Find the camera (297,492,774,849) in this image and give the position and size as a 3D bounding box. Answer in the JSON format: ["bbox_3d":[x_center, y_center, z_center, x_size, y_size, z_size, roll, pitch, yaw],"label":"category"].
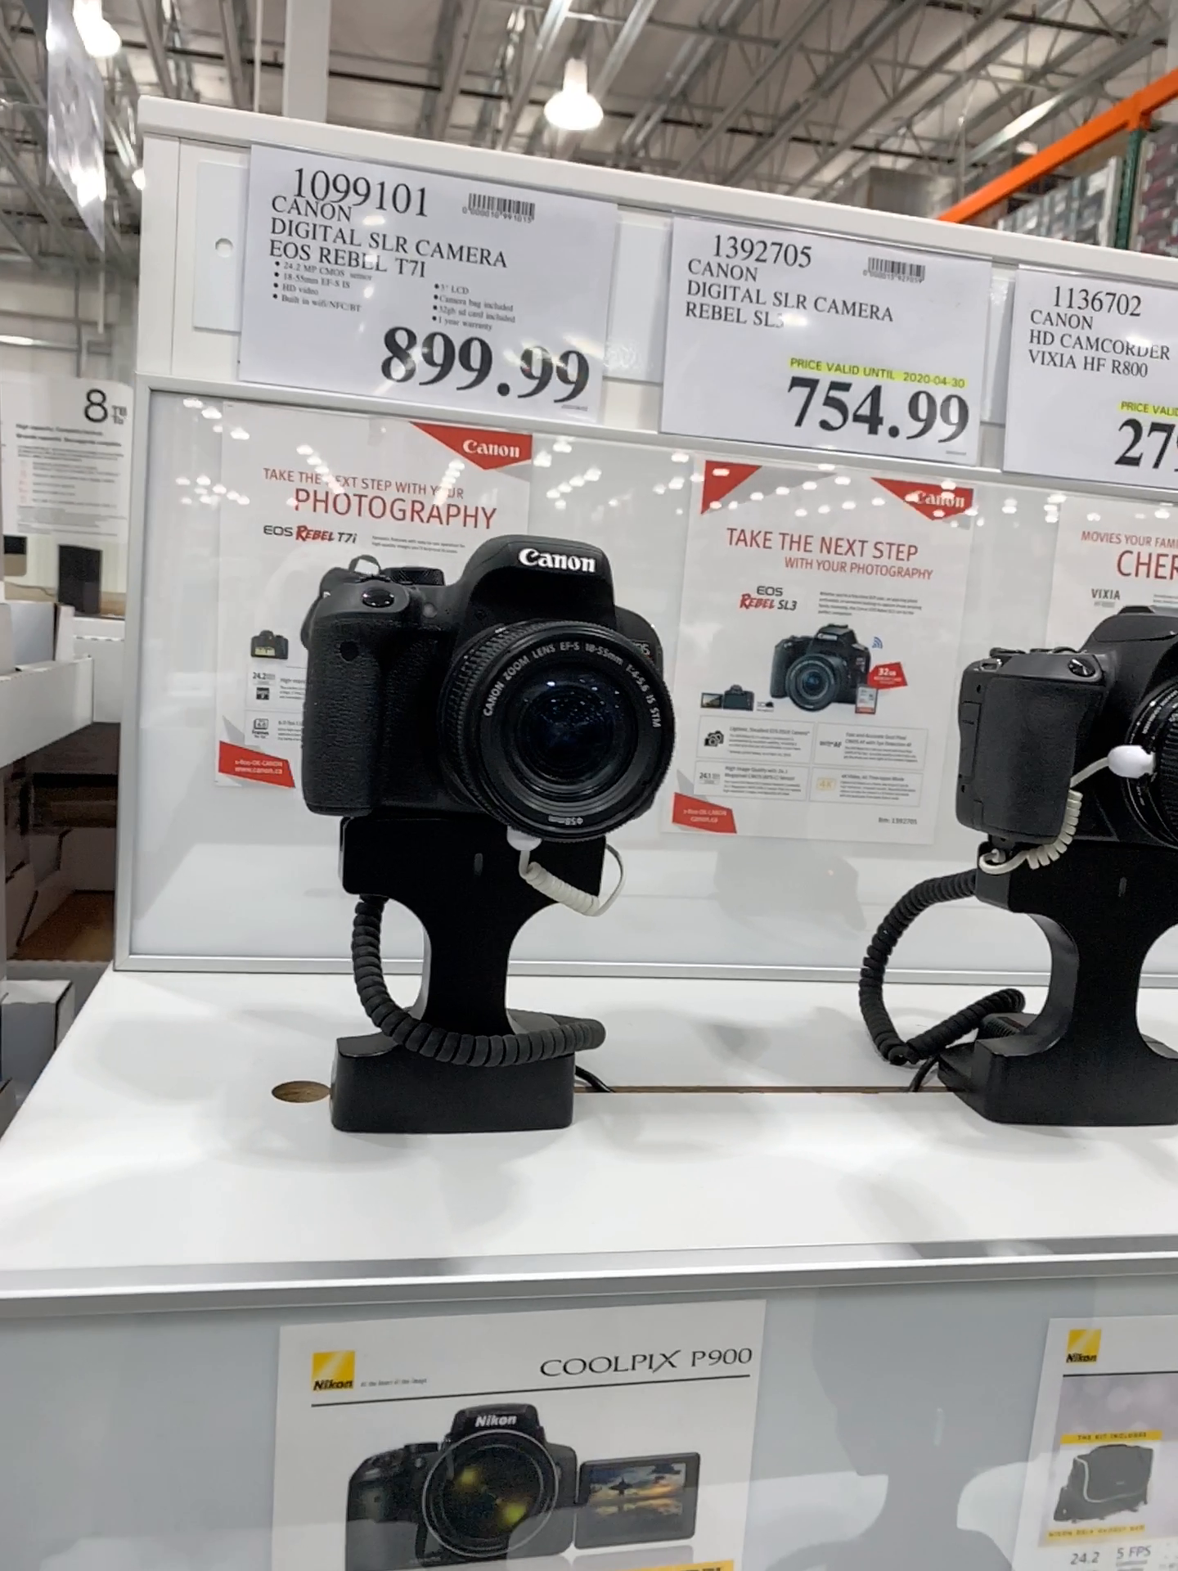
[{"bbox_3d":[-0.028,-0.039,0.415,0.132,0.096,0.129,2,7,-16],"label":"camera"}]
